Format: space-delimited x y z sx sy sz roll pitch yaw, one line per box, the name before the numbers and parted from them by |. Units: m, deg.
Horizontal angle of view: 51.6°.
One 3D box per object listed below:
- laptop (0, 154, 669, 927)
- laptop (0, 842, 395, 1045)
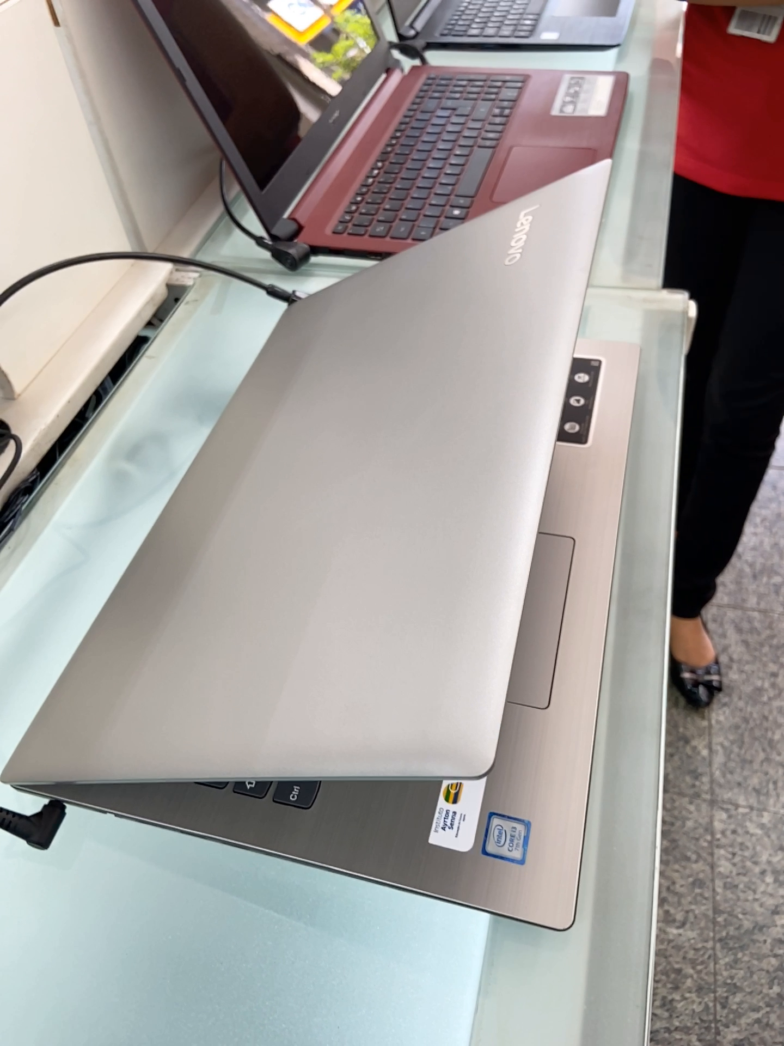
laptop | -0.007 -0.040 0.411 0.246 0.114 0.371 9 50 14
laptop | -0.248 0.272 0.081 0.400 0.211 0.356 5 47 11
